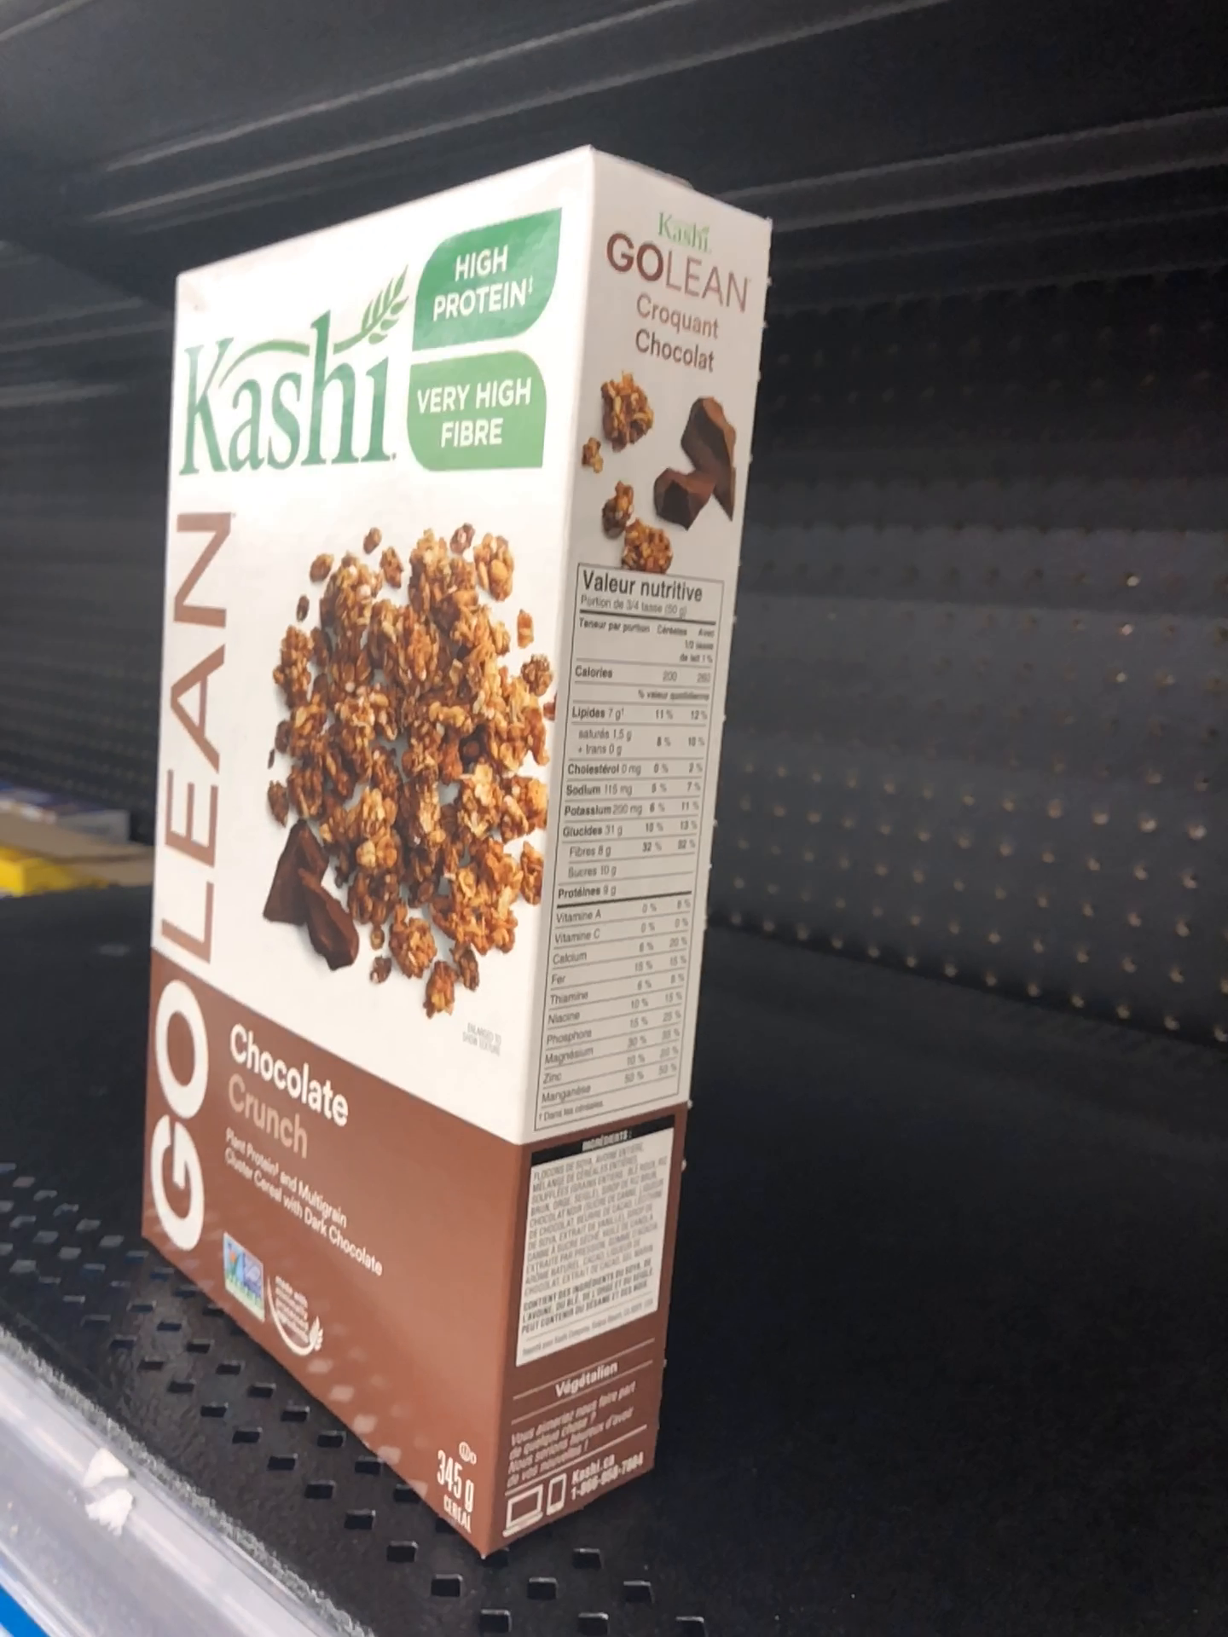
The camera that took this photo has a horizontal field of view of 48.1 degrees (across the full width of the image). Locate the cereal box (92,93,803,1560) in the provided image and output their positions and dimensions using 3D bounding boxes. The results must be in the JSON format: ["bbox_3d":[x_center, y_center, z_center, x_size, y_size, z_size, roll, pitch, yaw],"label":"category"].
[{"bbox_3d":[-0.055,-0.005,0.315,0.050,0.250,0.180,-1,9,-42],"label":"cereal box"}]
